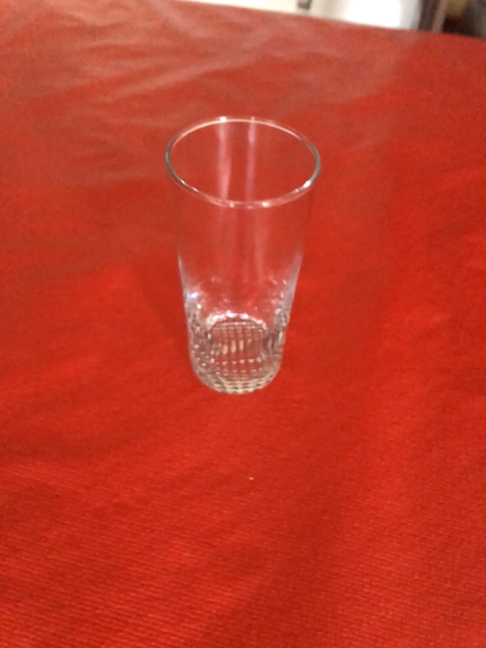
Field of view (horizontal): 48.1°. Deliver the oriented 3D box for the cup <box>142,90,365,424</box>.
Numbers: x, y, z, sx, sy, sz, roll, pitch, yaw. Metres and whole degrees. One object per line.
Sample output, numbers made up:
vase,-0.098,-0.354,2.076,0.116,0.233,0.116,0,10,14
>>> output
cup,0.000,-0.026,0.280,0.070,0.149,0.070,1,50,-1
